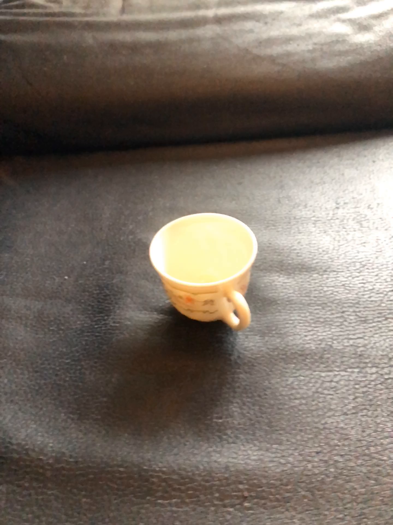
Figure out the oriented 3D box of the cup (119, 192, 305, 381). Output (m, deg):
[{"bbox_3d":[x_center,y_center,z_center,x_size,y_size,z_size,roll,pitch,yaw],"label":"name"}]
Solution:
[{"bbox_3d":[0.006,0.009,0.260,0.069,0.050,0.084,-24,46,-22],"label":"cup"}]
